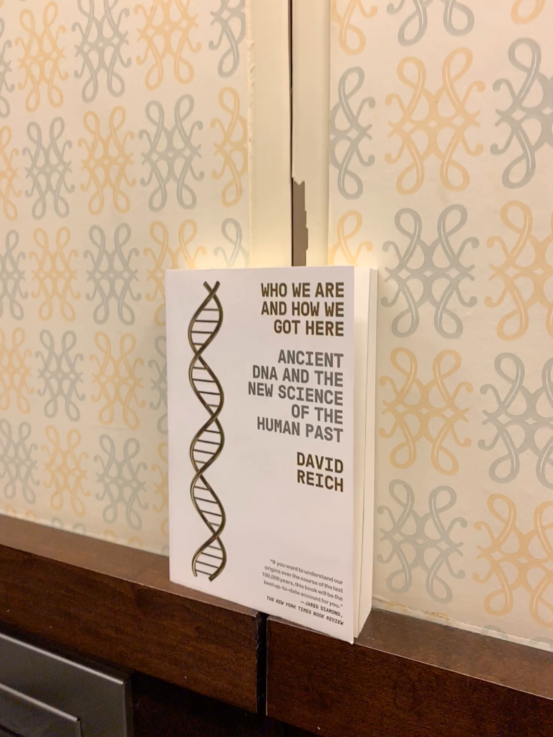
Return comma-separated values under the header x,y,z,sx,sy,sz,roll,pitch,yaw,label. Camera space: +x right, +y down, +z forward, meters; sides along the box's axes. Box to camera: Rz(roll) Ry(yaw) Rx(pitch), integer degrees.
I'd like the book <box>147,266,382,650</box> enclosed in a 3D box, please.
x,y,z,sx,sy,sz,roll,pitch,yaw,label
-0.009,0.043,0.334,0.127,0.199,0.041,4,7,24,book
